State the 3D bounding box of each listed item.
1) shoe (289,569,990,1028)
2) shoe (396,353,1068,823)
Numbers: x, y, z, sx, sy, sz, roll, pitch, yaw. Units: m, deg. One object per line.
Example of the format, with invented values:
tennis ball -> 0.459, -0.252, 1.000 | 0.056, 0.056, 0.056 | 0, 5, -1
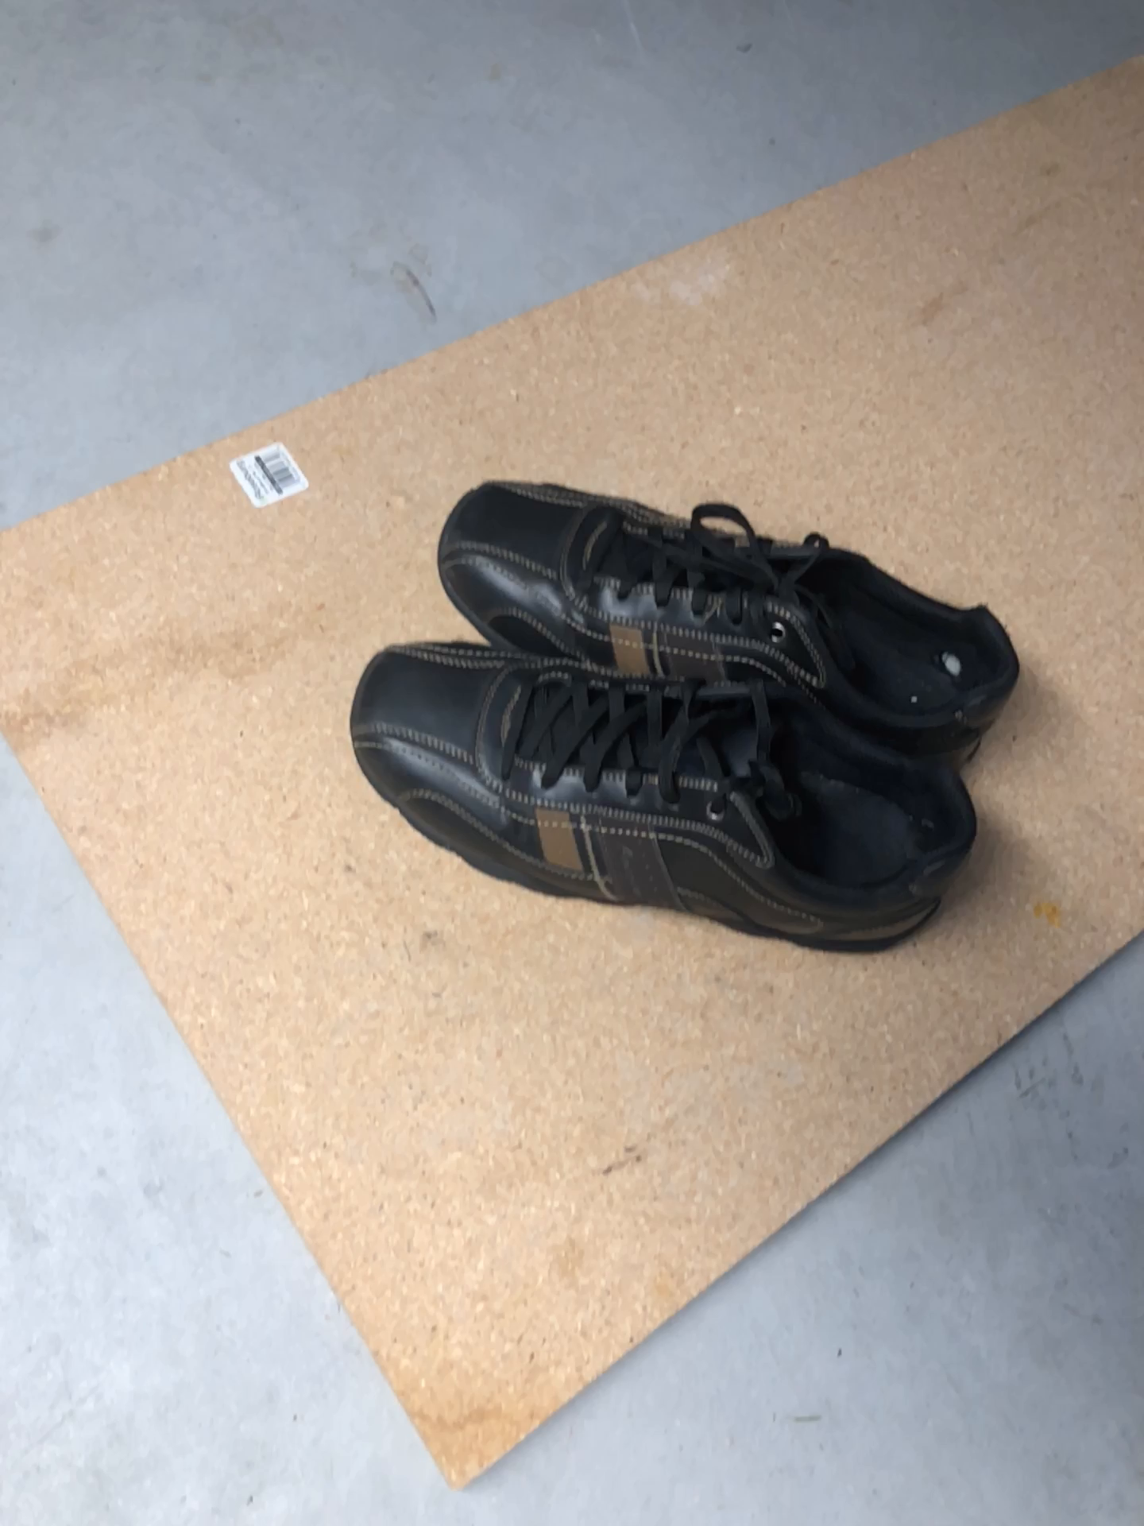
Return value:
shoe -> 0.029, 0.020, 0.607 | 0.300, 0.100, 0.100 | 18, 61, 1
shoe -> 0.071, -0.077, 0.611 | 0.290, 0.100, 0.100 | 20, 71, -3
